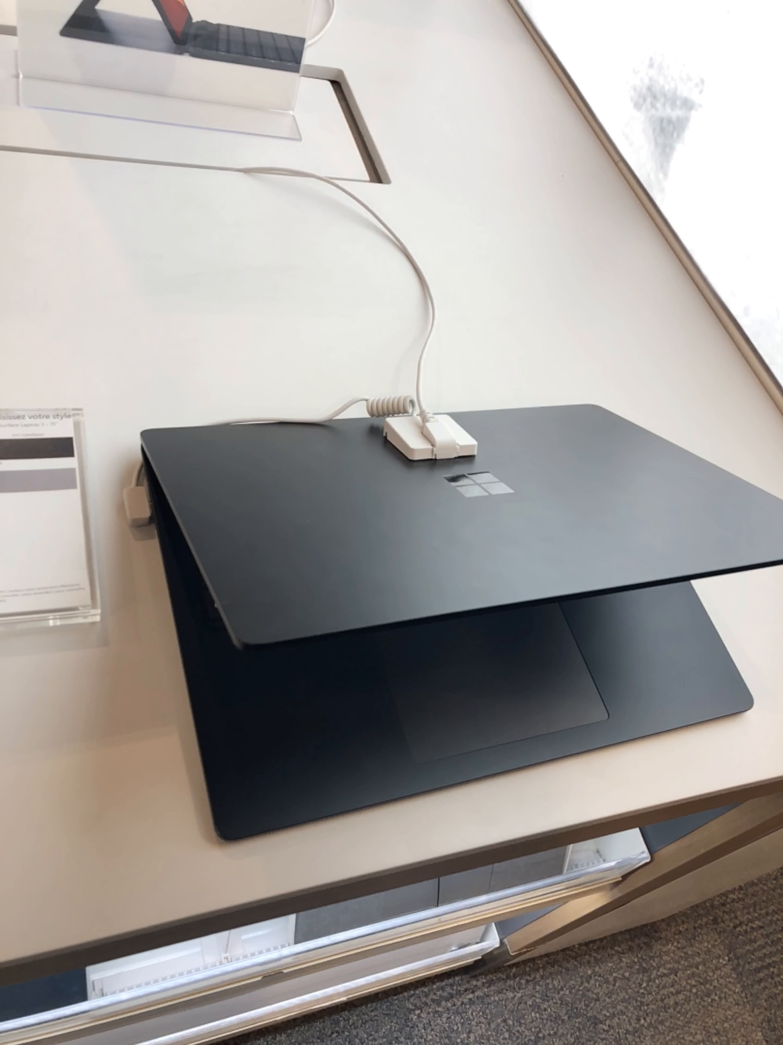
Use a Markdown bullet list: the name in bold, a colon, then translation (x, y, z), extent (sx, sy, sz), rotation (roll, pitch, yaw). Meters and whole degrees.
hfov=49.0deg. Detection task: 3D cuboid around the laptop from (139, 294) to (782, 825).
- **laptop**: translation (0.037, -0.002, 0.422), extent (0.285, 0.086, 0.191), rotation (-7, 65, -25)
